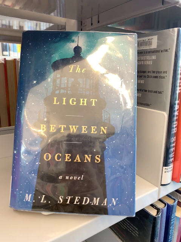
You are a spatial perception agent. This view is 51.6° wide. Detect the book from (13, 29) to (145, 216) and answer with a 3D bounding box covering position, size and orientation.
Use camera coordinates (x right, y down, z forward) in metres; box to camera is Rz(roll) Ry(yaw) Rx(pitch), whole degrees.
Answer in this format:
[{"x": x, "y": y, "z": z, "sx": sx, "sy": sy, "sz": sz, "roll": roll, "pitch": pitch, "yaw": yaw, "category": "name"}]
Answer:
[{"x": -0.011, "y": -0.004, "z": 0.252, "sx": 0.155, "sy": 0.225, "sz": 0.042, "roll": 2, "pitch": -6, "yaw": 2, "category": "book"}]
